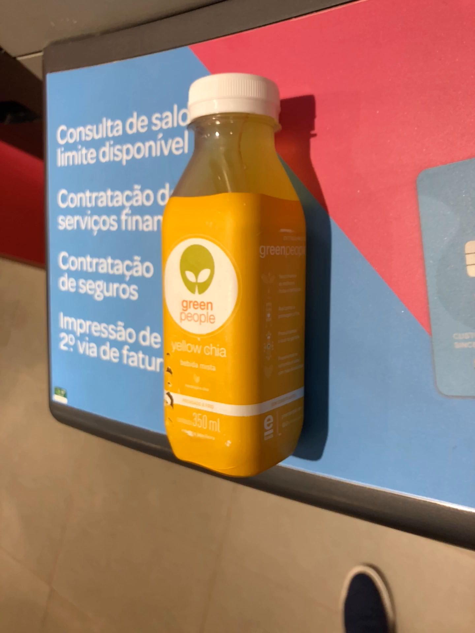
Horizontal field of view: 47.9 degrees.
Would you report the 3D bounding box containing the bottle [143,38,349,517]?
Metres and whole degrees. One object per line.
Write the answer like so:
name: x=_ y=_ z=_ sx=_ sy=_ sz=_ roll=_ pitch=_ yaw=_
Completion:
bottle: x=0.003 y=-0.015 z=0.243 sx=0.060 sy=0.060 sz=0.180 roll=9 pitch=99 yaw=37
